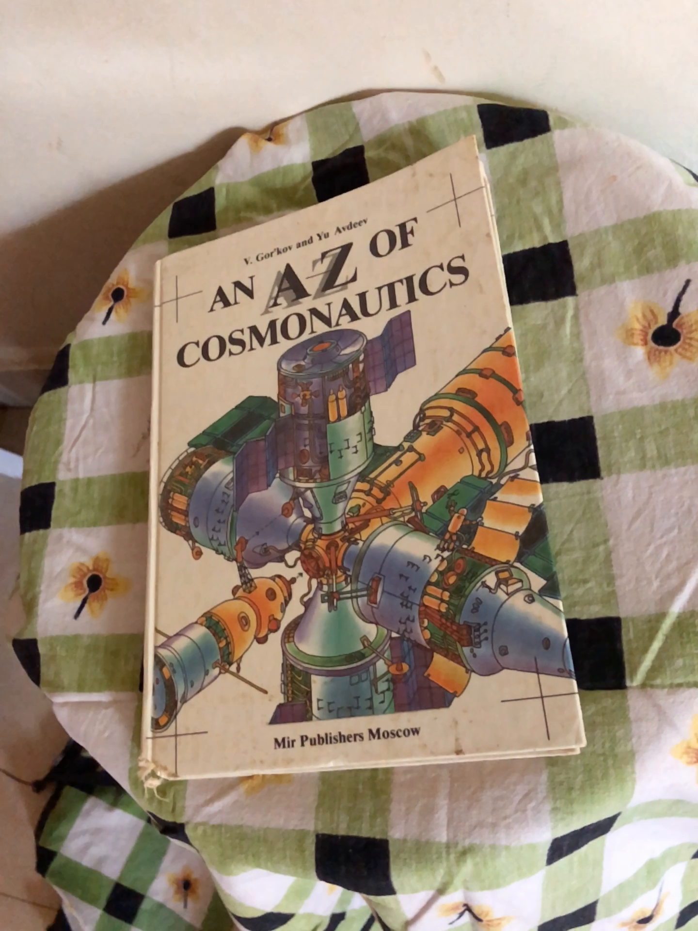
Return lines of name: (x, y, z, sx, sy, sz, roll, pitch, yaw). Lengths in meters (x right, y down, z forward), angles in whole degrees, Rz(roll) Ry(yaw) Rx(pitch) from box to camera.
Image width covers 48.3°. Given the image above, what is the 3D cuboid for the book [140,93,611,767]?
book: (-0.001, -0.014, 0.358, 0.180, 0.060, 0.270, -12, 69, 18)
